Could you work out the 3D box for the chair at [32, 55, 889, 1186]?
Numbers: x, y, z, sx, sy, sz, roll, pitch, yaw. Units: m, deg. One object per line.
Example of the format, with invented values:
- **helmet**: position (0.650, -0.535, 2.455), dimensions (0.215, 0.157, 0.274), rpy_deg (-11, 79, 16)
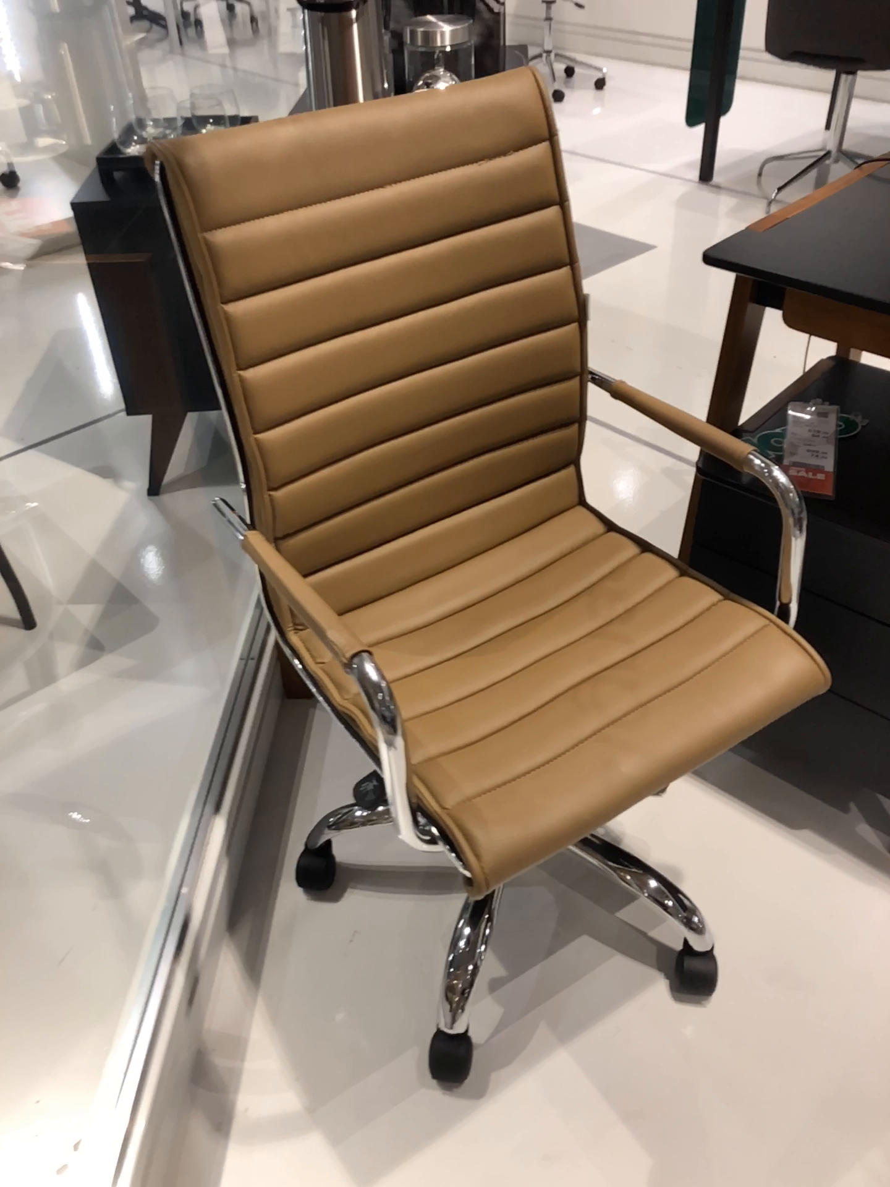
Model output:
- **chair**: position (0.066, 0.024, 1.078), dimensions (0.601, 0.943, 0.613), rpy_deg (-23, 43, -23)
